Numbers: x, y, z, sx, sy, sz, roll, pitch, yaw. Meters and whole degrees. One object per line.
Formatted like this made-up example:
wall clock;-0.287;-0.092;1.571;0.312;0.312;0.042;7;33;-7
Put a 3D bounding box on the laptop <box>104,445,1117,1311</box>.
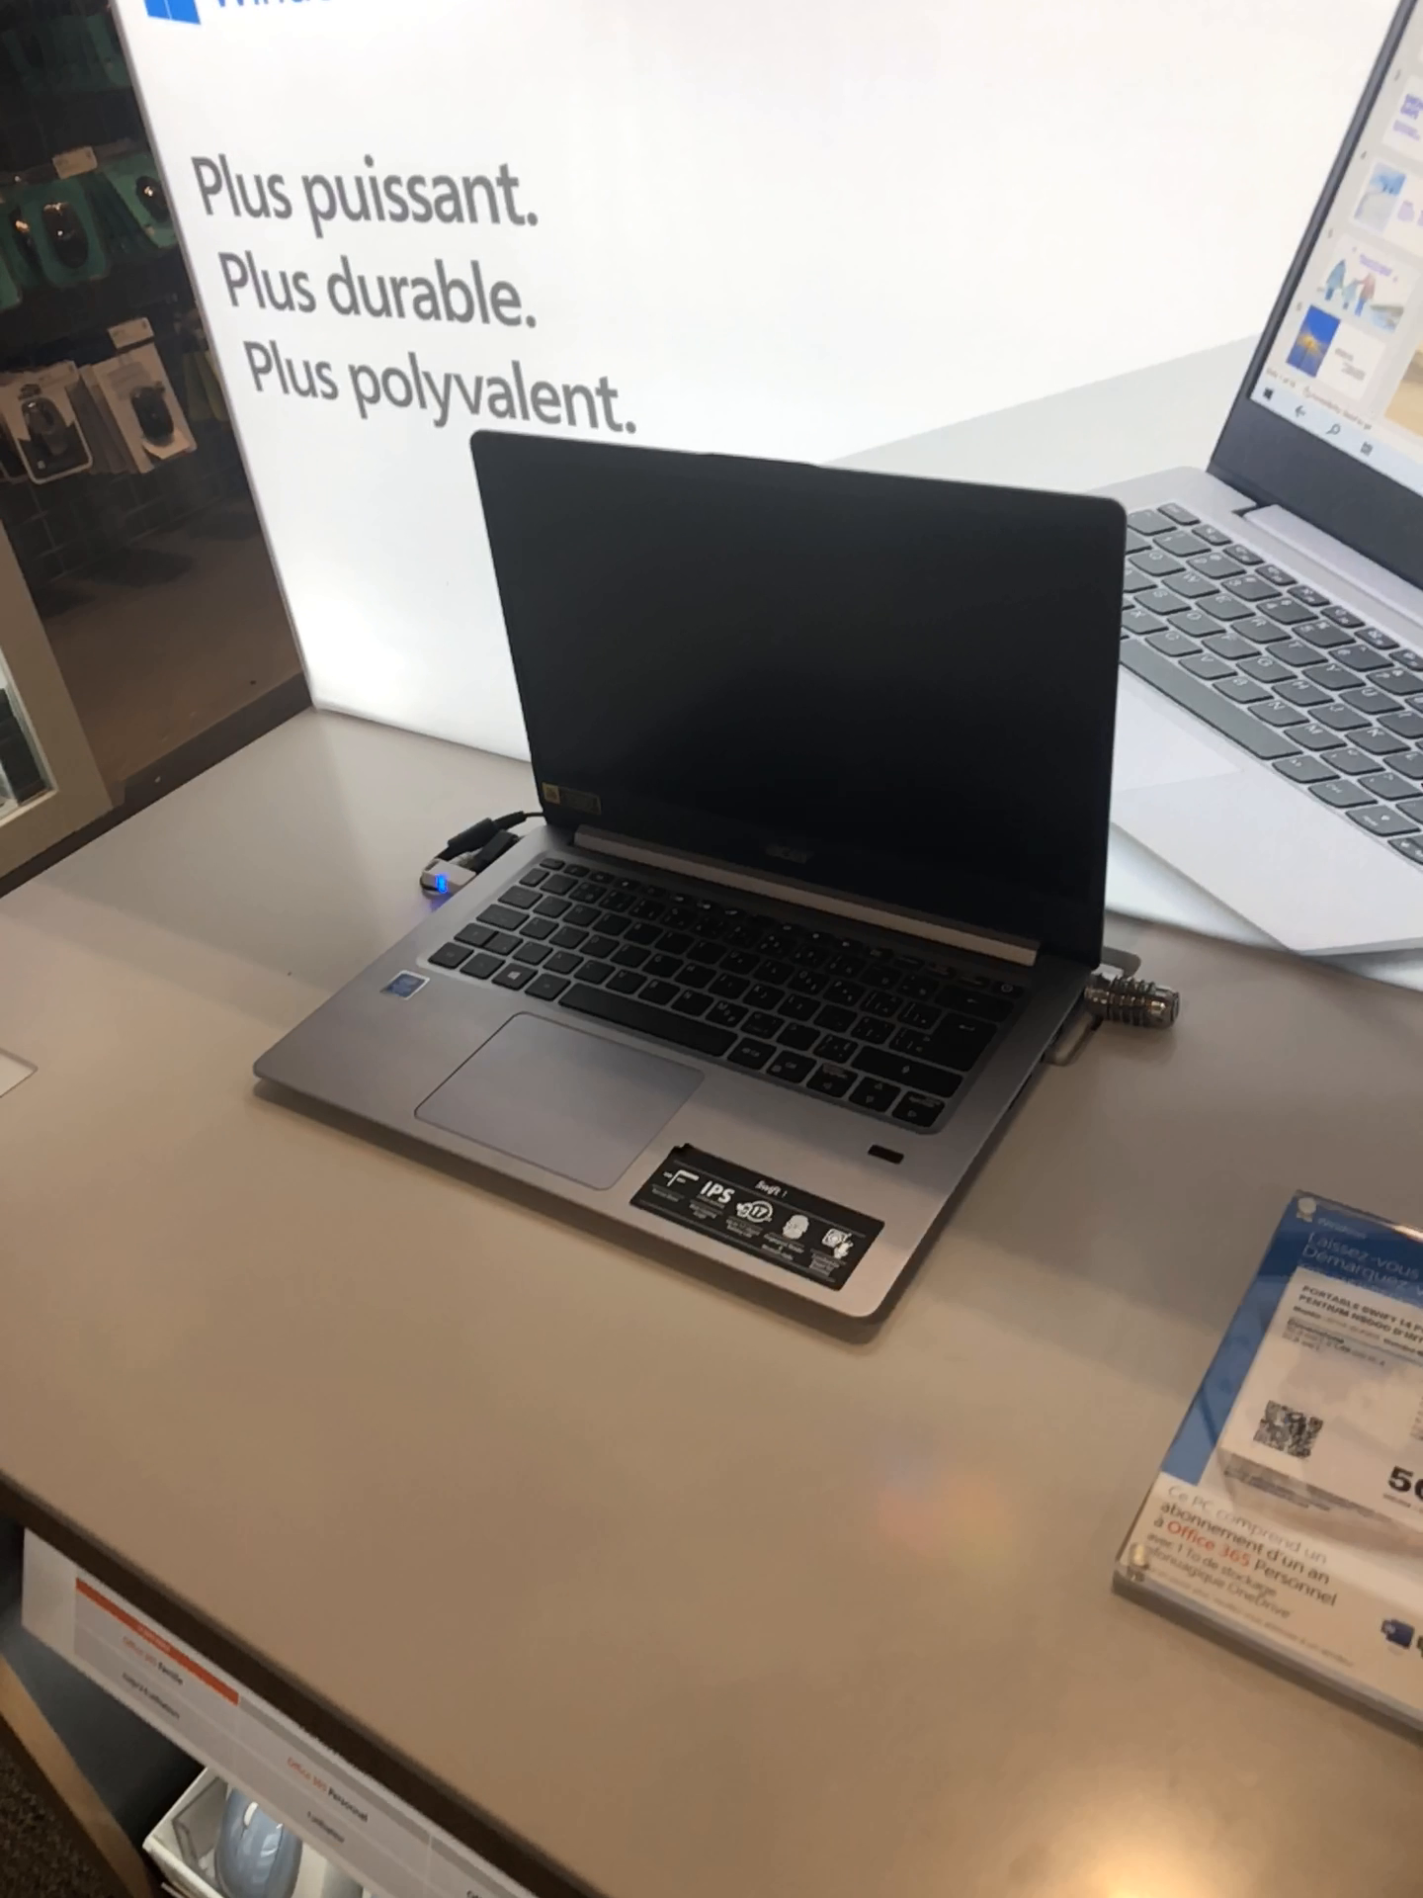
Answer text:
laptop;-0.028;-0.054;0.647;0.312;0.210;0.226;16;42;29
